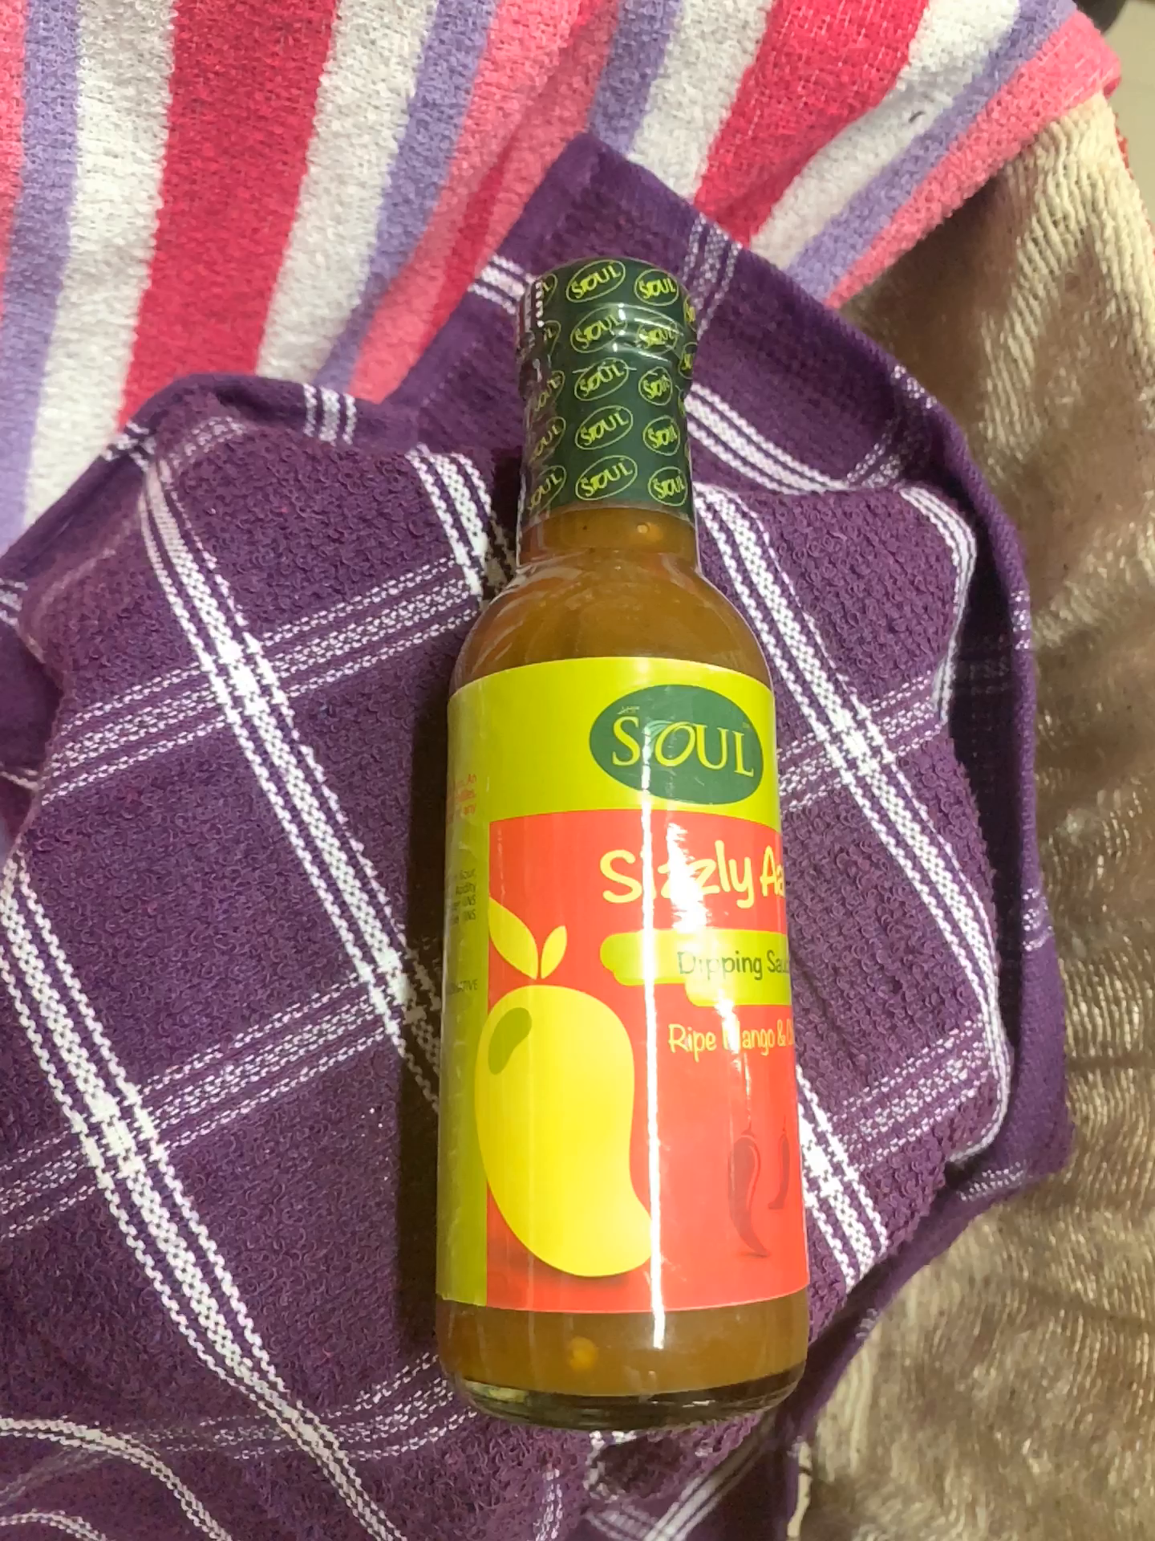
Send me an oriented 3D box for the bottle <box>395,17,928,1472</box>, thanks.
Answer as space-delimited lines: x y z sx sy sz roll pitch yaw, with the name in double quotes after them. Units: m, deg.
0.006 -0.010 0.193 0.060 0.060 0.200 3 74 -11 "bottle"
